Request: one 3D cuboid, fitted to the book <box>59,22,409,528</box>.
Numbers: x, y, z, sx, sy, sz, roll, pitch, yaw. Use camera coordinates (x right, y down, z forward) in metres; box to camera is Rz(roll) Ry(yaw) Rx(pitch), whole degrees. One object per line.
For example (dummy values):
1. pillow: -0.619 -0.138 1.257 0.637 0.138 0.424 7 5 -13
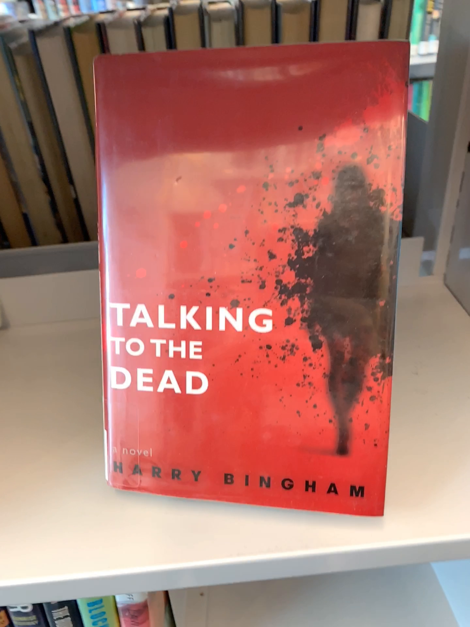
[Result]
1. book: -0.003 -0.015 0.259 0.164 0.231 0.040 2 7 11
